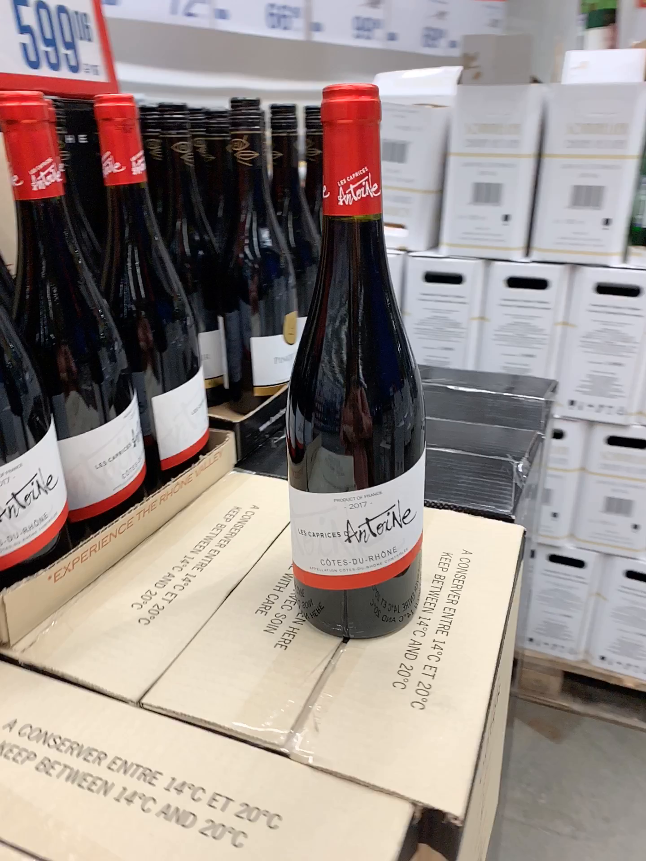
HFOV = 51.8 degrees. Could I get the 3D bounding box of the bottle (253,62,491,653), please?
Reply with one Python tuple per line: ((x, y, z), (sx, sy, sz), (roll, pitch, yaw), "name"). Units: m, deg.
((0.016, -0.031, 0.374), (0.090, 0.299, 0.090), (1, 23, 0), "bottle")
